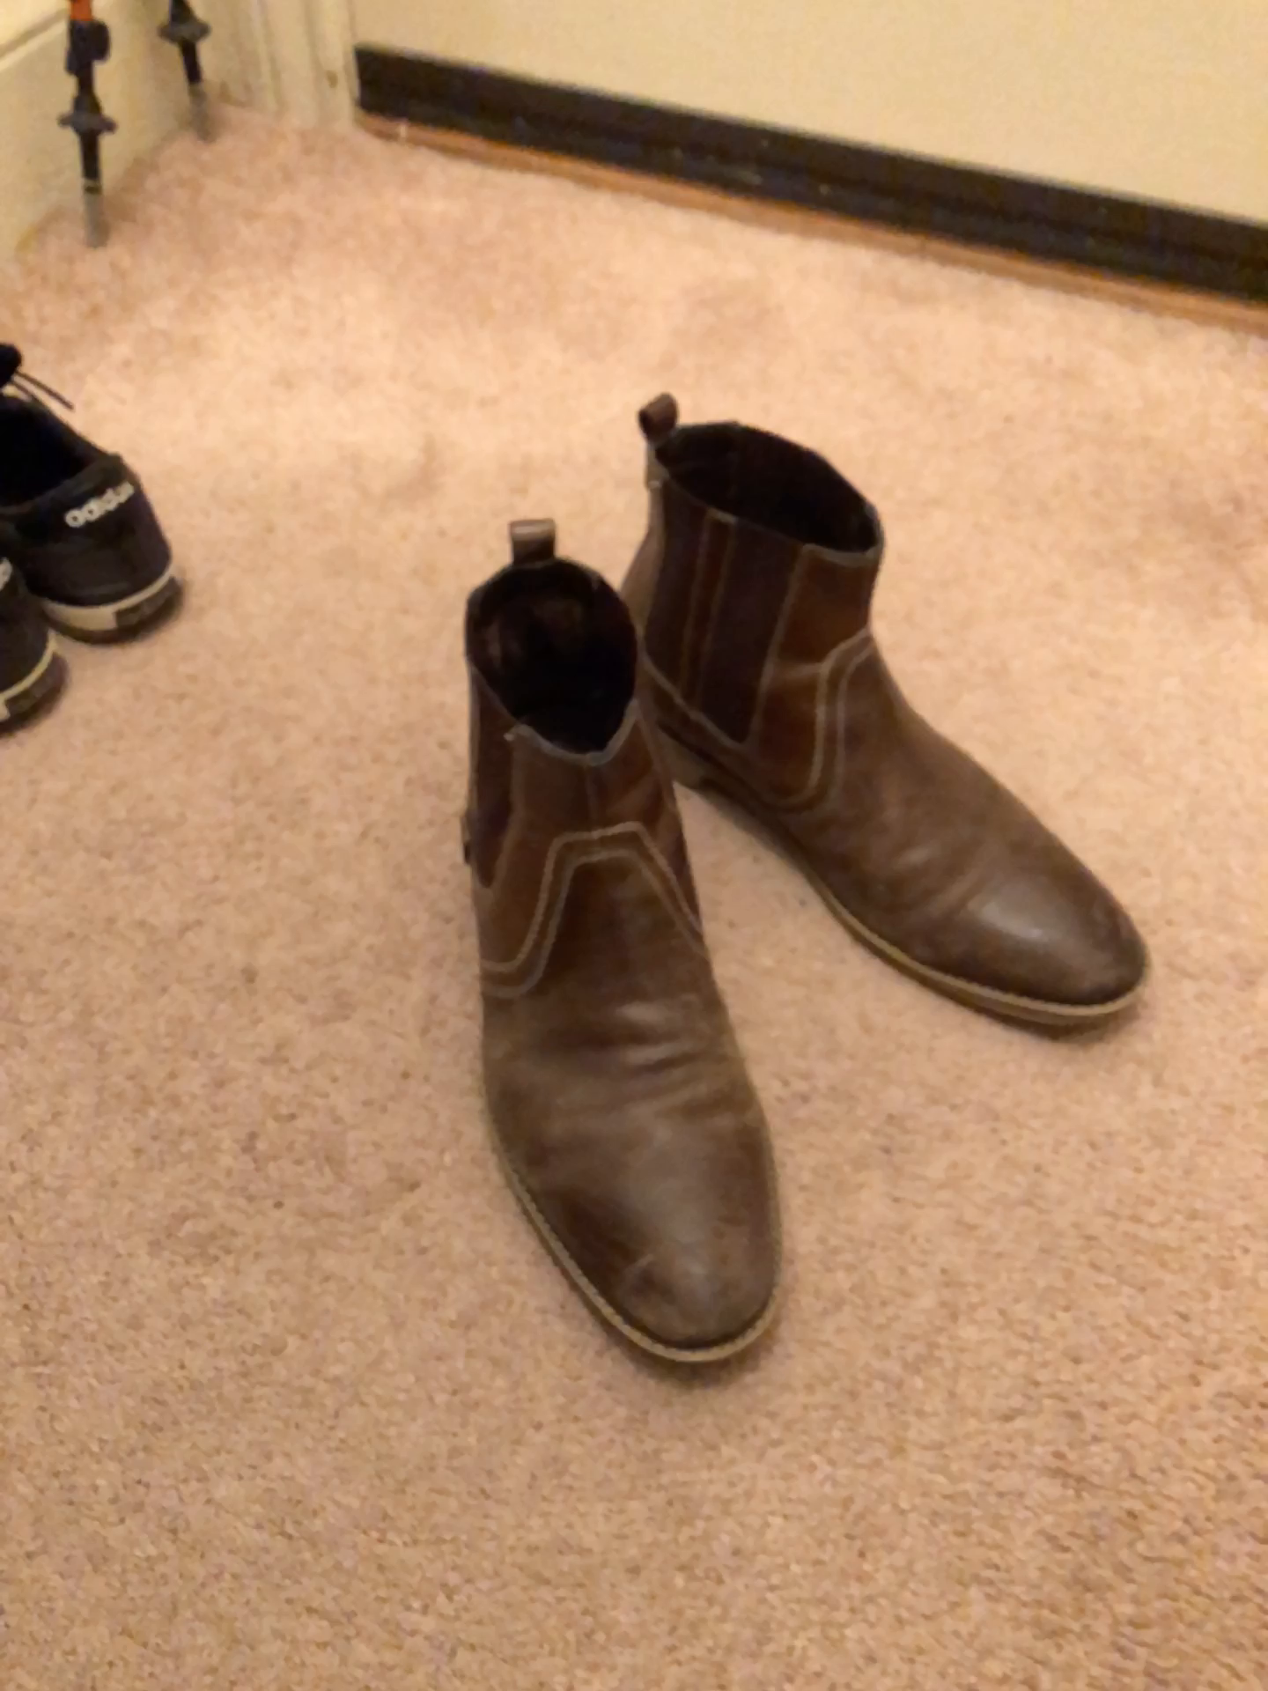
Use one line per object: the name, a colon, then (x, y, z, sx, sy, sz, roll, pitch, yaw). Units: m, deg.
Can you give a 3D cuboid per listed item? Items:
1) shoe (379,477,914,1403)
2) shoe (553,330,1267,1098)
shoe: (-0.013, 0.024, 0.535, 0.119, 0.158, 0.299, -9, 53, -8)
shoe: (0.108, -0.064, 0.607, 0.119, 0.158, 0.298, -35, 61, -25)
